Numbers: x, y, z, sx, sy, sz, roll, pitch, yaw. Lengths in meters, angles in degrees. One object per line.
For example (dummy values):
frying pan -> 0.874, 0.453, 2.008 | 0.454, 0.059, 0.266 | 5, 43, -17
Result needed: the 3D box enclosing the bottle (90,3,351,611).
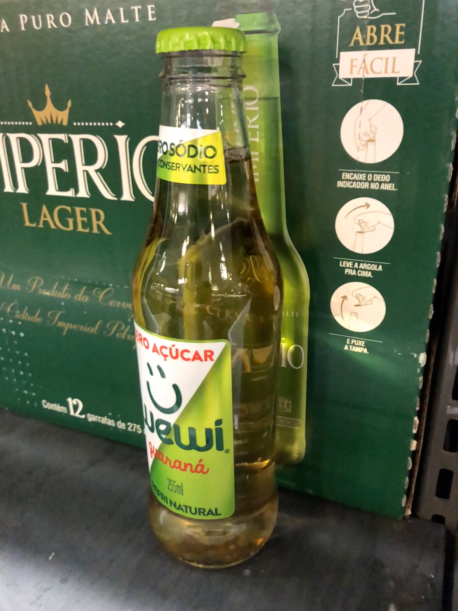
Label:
bottle -> 0.000, 0.008, 0.191 | 0.060, 0.199, 0.050 | 14, 27, 34
